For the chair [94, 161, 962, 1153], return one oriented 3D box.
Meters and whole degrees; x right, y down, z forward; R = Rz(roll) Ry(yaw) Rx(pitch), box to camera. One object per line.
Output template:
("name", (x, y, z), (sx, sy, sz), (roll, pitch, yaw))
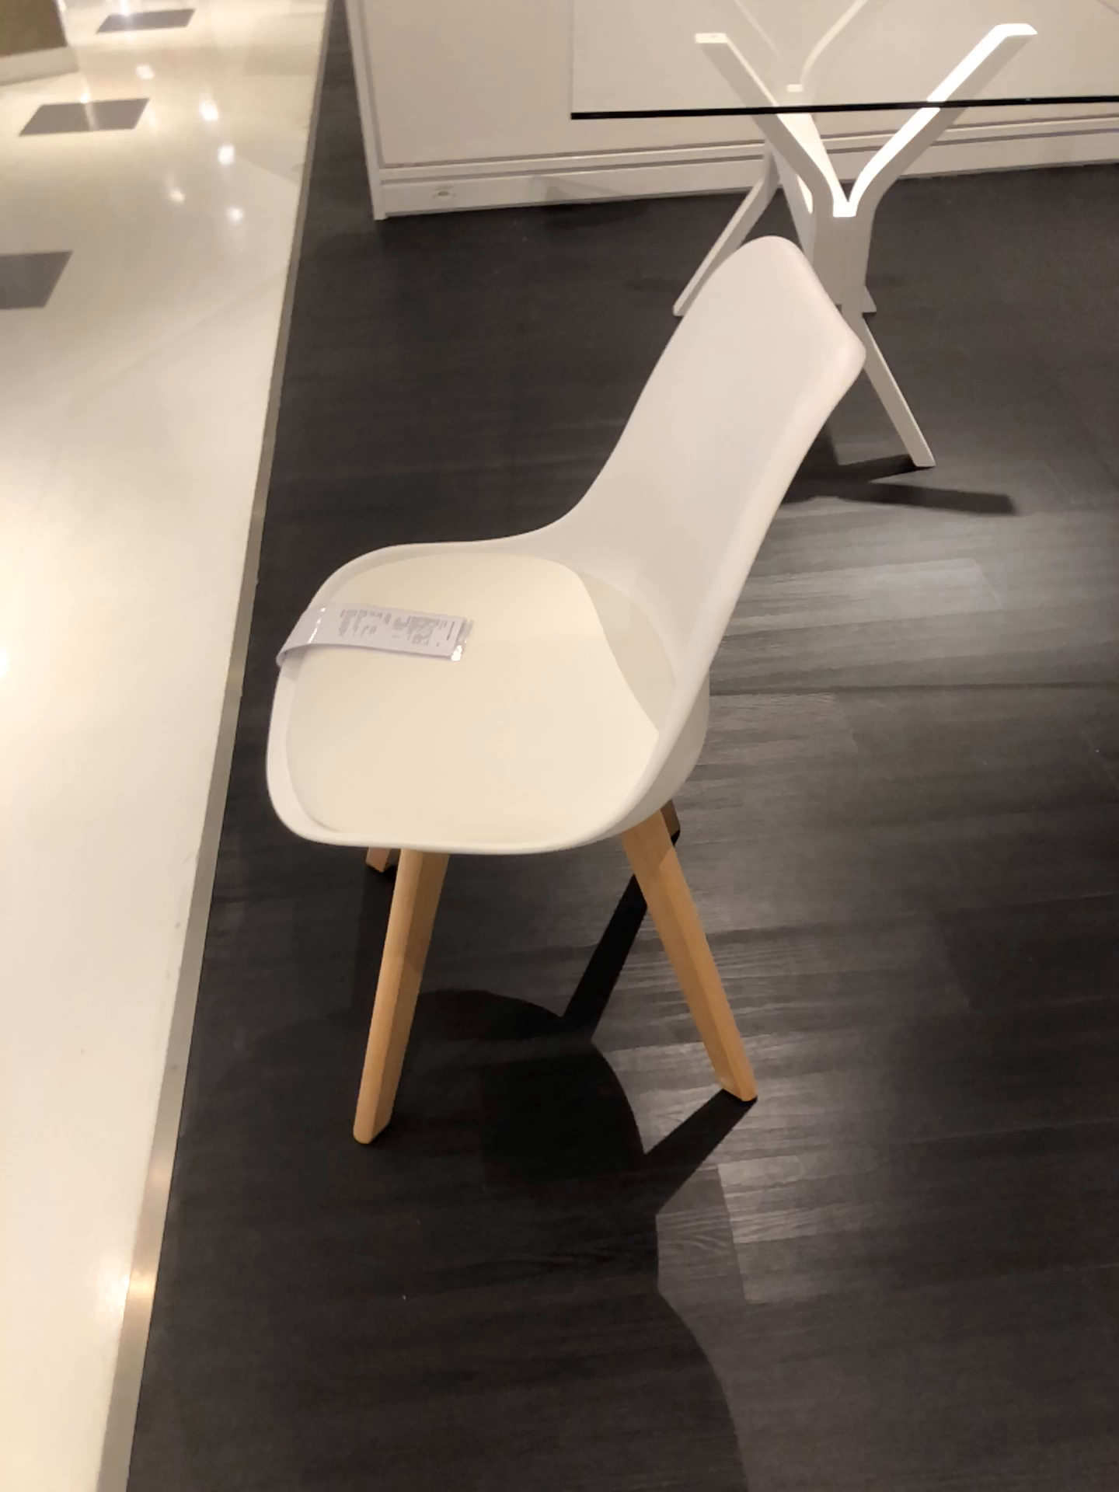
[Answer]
("chair", (-0.019, -0.064, 1.193), (0.530, 0.784, 0.504), (-4, 41, -1))
